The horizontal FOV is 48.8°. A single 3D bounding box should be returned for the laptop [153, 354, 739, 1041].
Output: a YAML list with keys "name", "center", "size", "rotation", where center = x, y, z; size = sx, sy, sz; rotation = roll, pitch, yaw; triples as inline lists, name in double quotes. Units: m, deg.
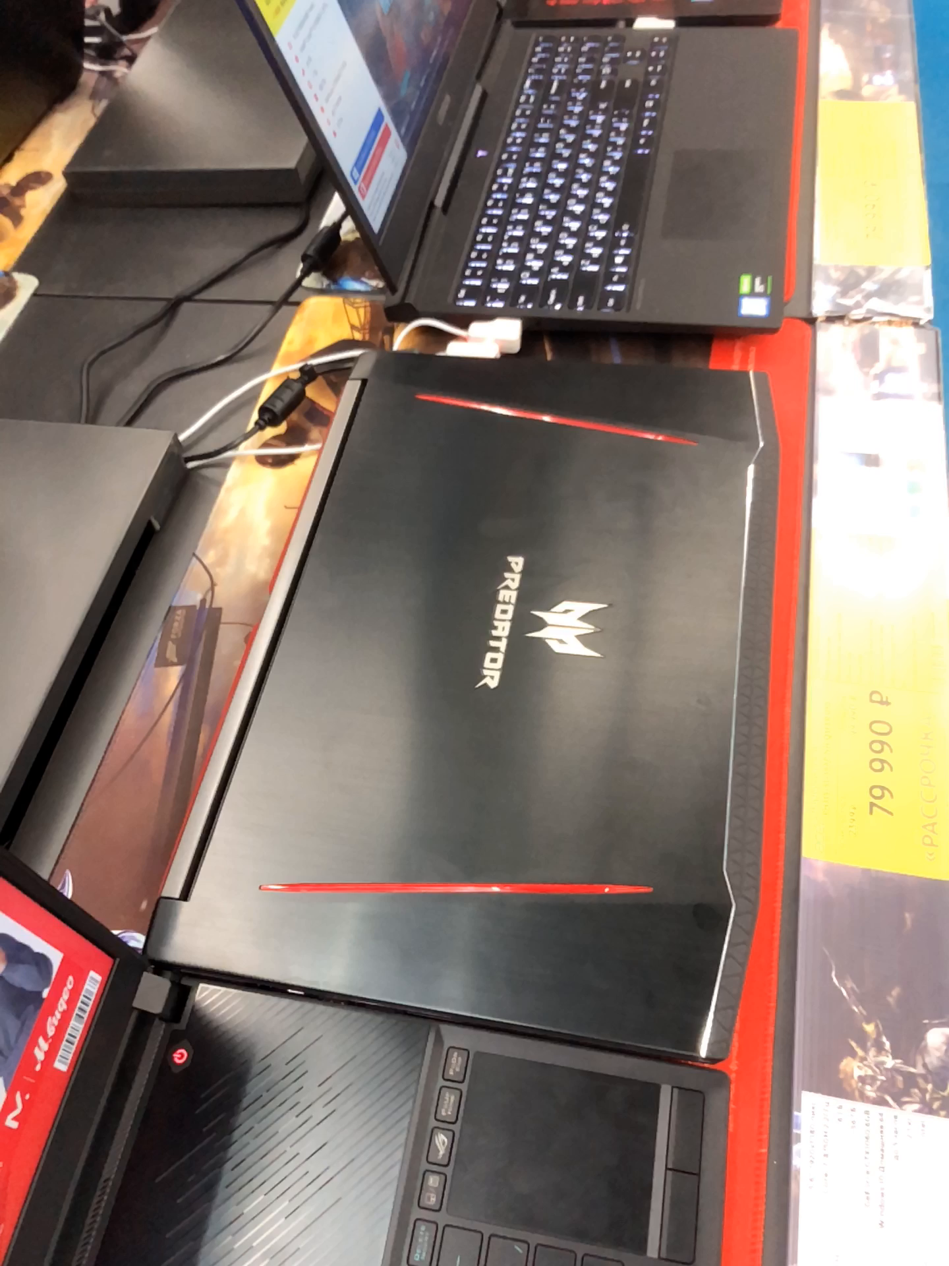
- name: "laptop"
  center: [0.009, -0.008, 0.530]
  size: [0.228, 0.004, 0.378]
  rotation: [5, 56, 11]
